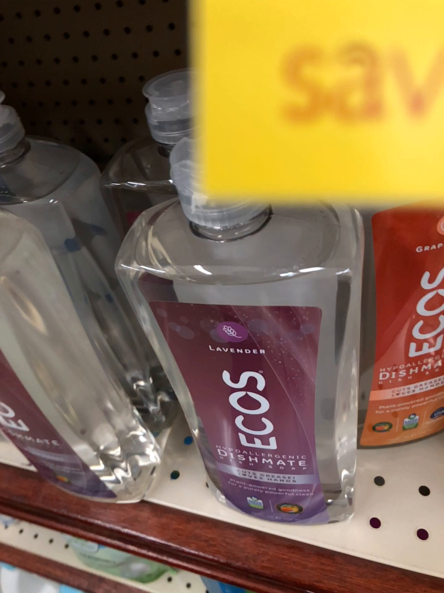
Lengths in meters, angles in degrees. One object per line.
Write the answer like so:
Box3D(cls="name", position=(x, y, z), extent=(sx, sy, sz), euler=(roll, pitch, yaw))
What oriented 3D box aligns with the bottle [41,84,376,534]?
Box3D(cls="bottle", position=(0.018, 0.035, 0.231), extent=(0.090, 0.244, 0.048), euler=(3, 48, 17))
